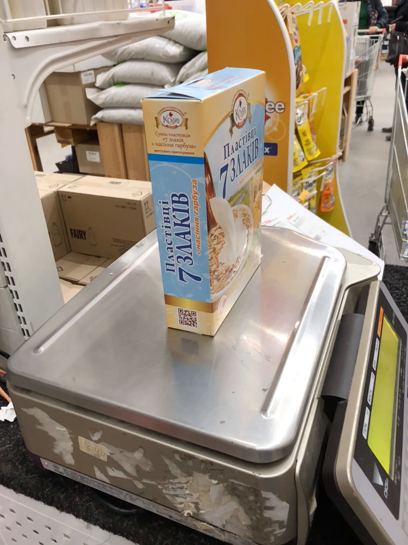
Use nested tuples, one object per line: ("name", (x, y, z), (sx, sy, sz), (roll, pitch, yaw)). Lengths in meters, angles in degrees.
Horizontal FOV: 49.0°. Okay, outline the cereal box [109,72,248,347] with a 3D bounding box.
("cereal box", (-0.011, -0.070, 0.458), (0.060, 0.228, 0.161), (11, 32, 21))
